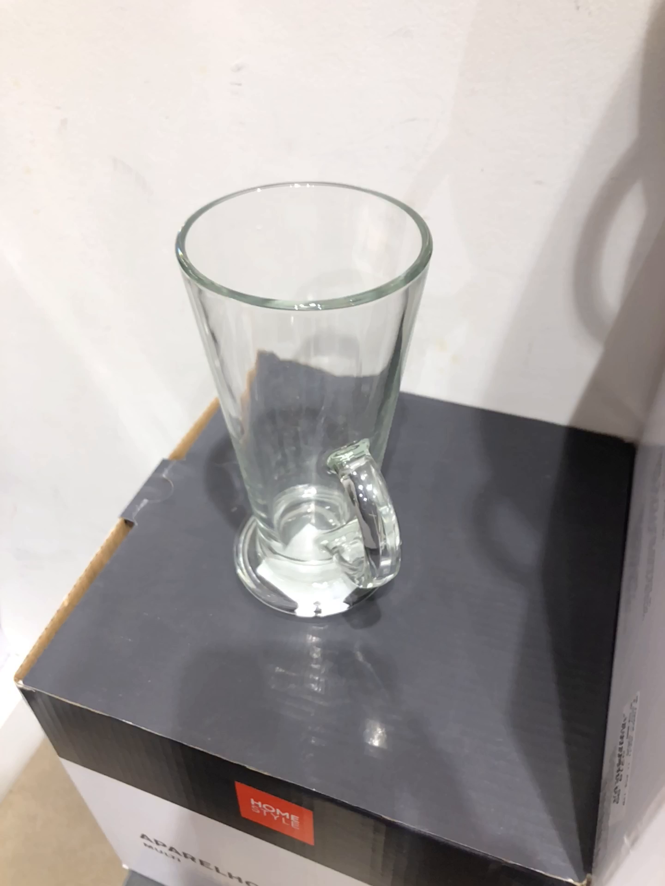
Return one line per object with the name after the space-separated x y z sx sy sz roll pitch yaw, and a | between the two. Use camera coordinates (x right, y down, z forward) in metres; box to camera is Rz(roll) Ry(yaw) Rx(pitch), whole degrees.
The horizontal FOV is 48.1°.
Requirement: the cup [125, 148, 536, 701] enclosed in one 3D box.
-0.003 -0.003 0.256 0.080 0.149 0.091 -21 47 -19 | cup
